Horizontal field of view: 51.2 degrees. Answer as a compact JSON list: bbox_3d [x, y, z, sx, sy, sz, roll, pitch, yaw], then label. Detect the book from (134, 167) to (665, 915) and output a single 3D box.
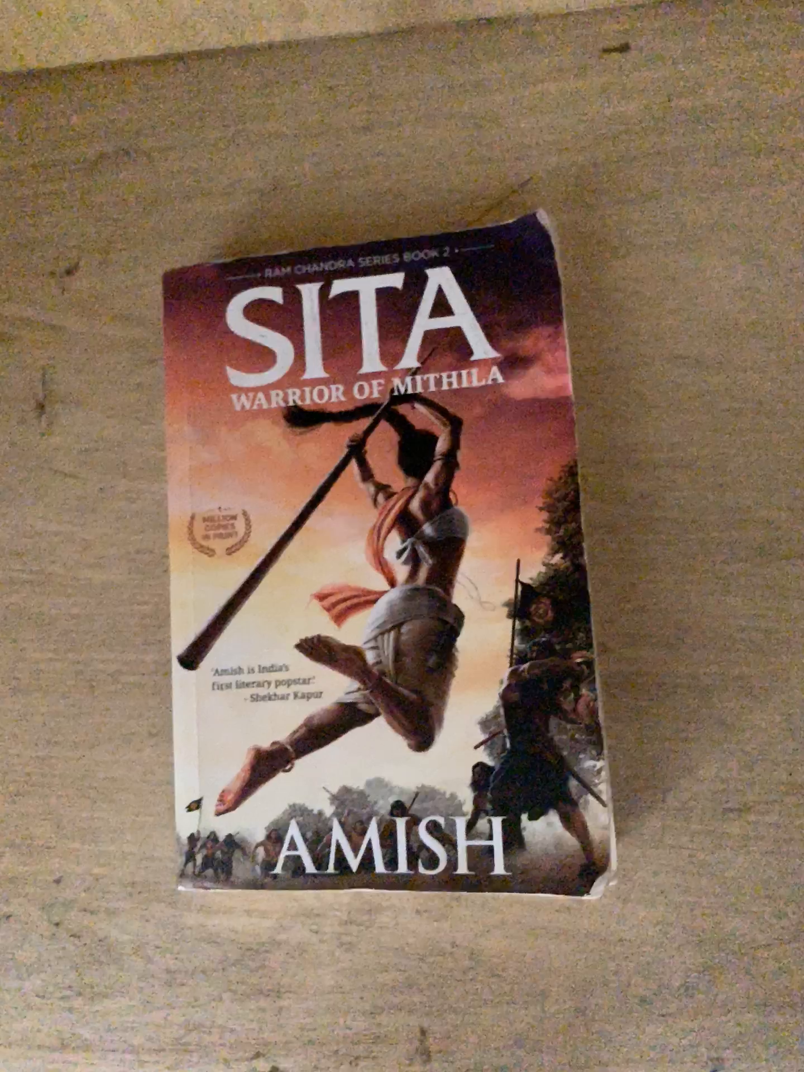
[{"bbox_3d":[-0.006,0.002,0.249,0.140,0.030,0.200,-5,82,10],"label":"book"}]
